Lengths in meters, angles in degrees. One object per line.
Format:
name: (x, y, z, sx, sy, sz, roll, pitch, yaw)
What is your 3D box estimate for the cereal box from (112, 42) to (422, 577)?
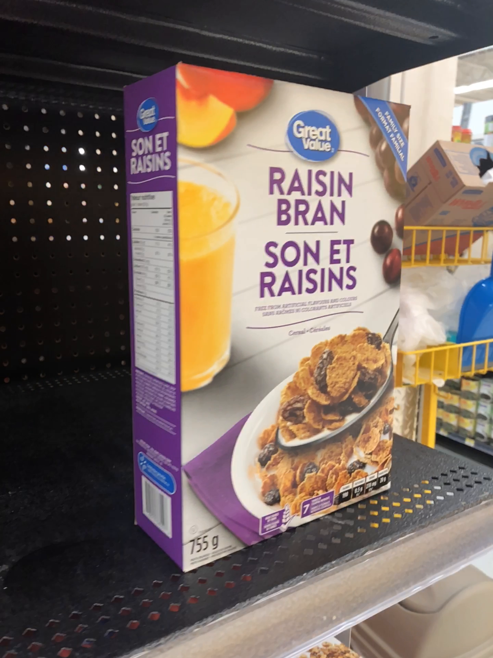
cereal box: (0.021, -0.014, 0.393, 0.210, 0.299, 0.070, -7, 13, -36)
